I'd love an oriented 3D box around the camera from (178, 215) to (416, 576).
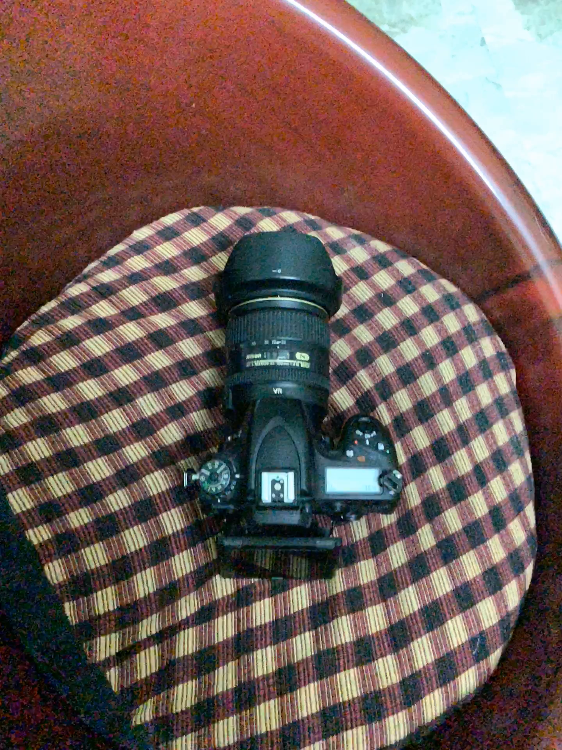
[{"bbox_3d":[0.012,0.016,0.430,0.140,0.102,0.250,0,69,1],"label":"camera"}]
